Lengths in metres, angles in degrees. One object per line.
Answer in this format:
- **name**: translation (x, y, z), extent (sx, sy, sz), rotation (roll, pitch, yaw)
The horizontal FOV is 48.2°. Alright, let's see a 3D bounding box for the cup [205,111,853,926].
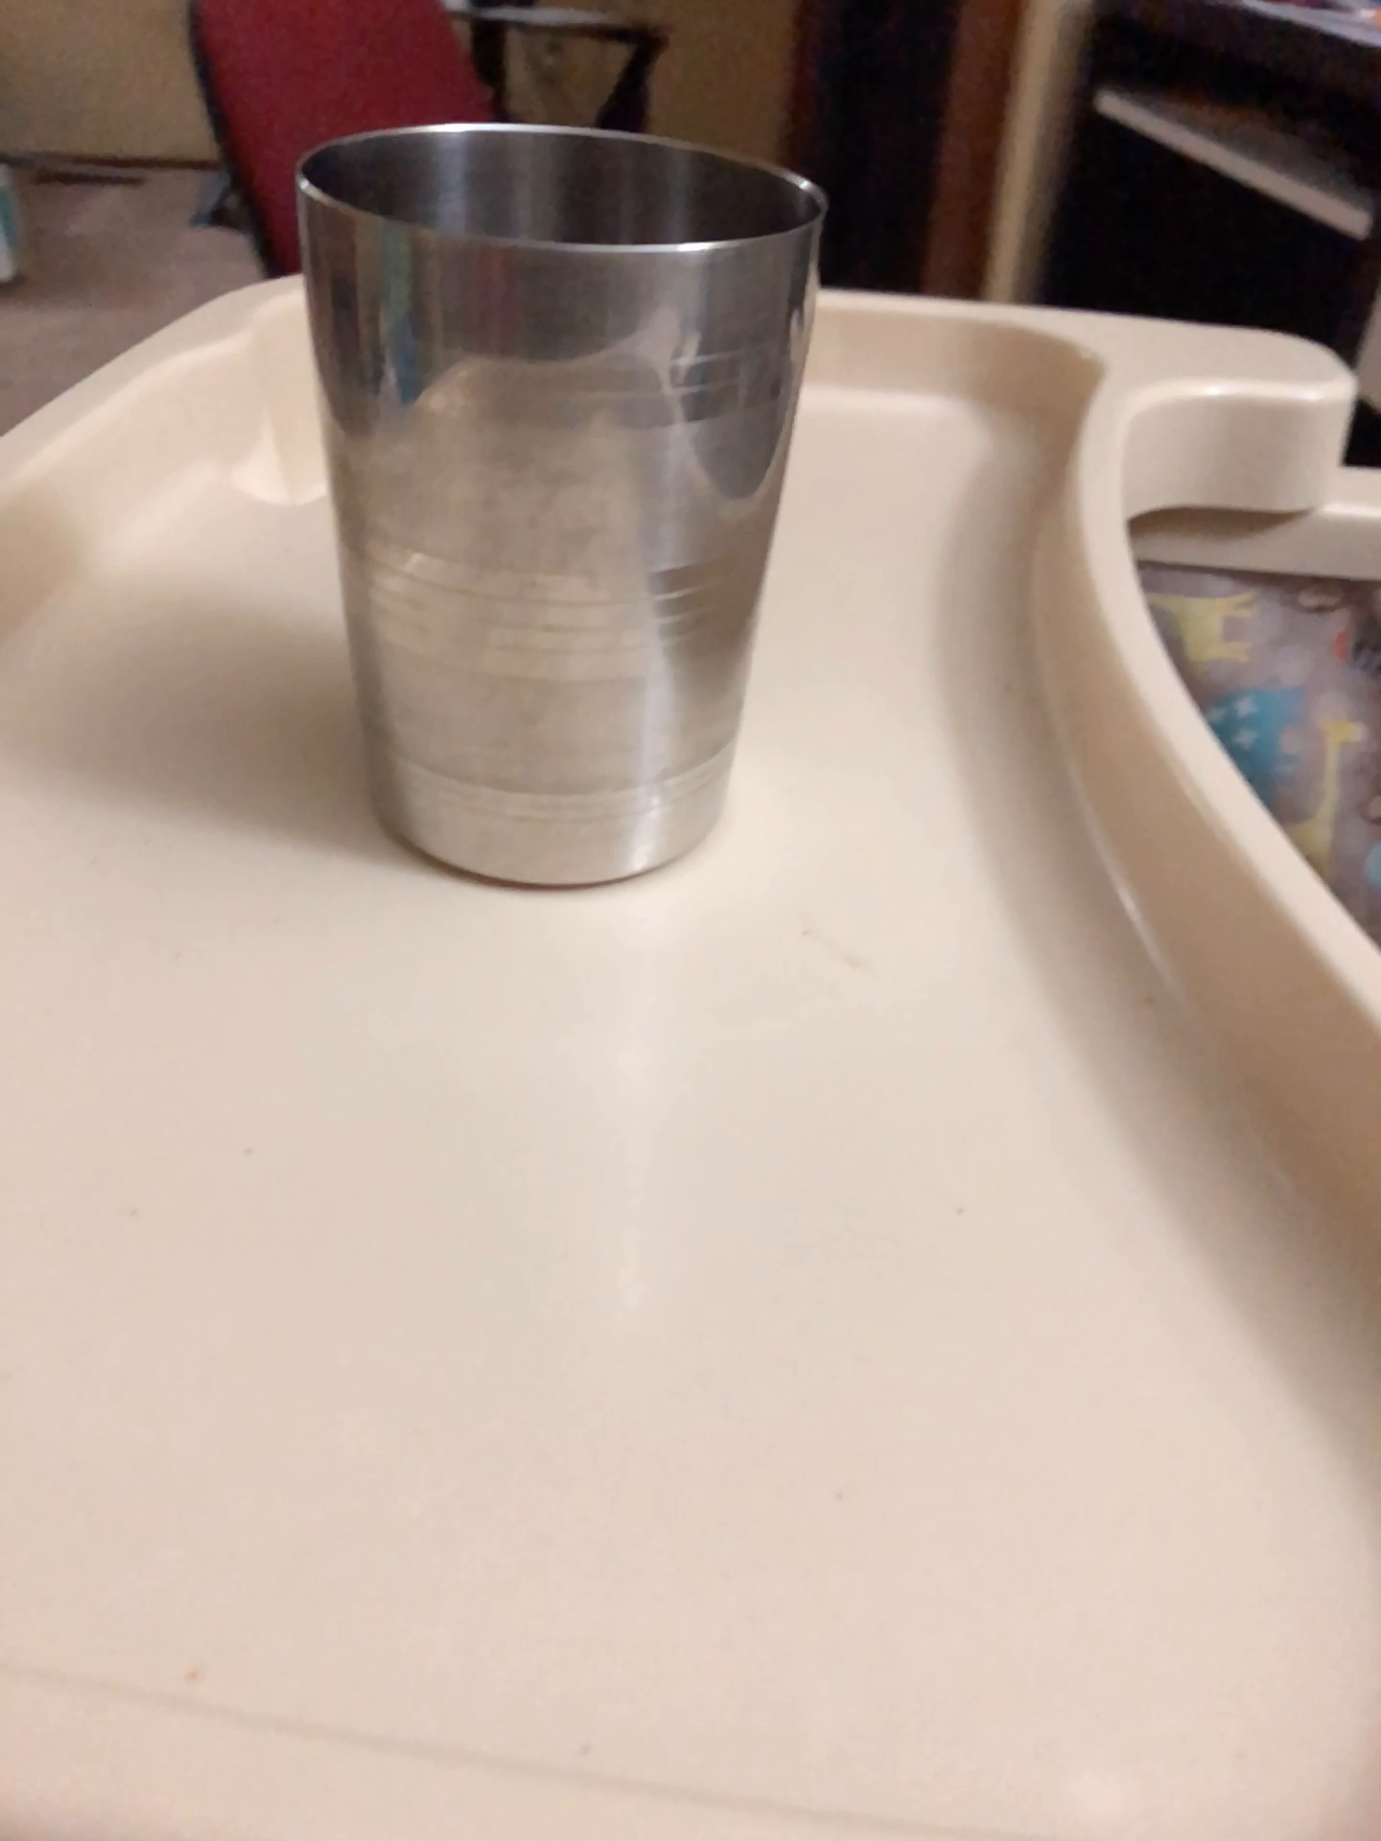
- **cup**: translation (-0.019, -0.060, 0.228), extent (0.073, 0.090, 0.074), rotation (3, 36, -2)
